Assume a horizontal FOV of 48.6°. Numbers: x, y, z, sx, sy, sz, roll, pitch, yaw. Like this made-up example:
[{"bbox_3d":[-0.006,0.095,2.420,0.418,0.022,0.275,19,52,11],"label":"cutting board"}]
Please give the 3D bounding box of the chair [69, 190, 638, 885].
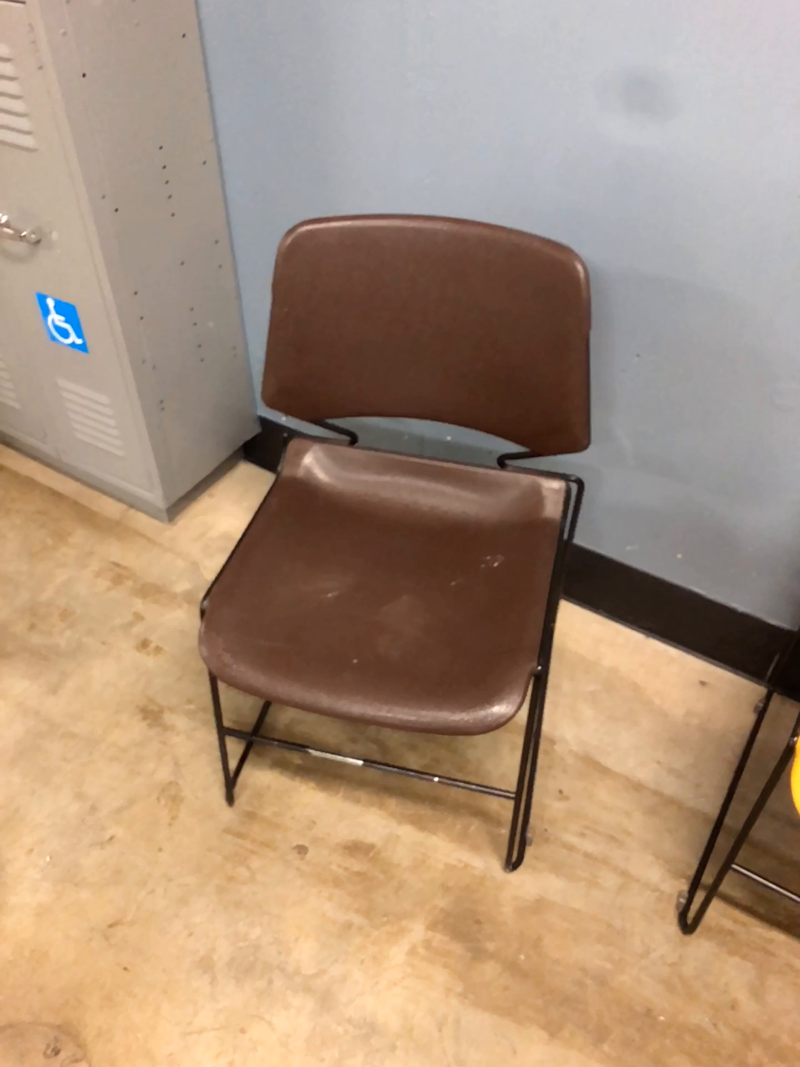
[{"bbox_3d":[-0.004,0.016,1.266,0.516,0.751,0.548,9,45,10],"label":"chair"}]
